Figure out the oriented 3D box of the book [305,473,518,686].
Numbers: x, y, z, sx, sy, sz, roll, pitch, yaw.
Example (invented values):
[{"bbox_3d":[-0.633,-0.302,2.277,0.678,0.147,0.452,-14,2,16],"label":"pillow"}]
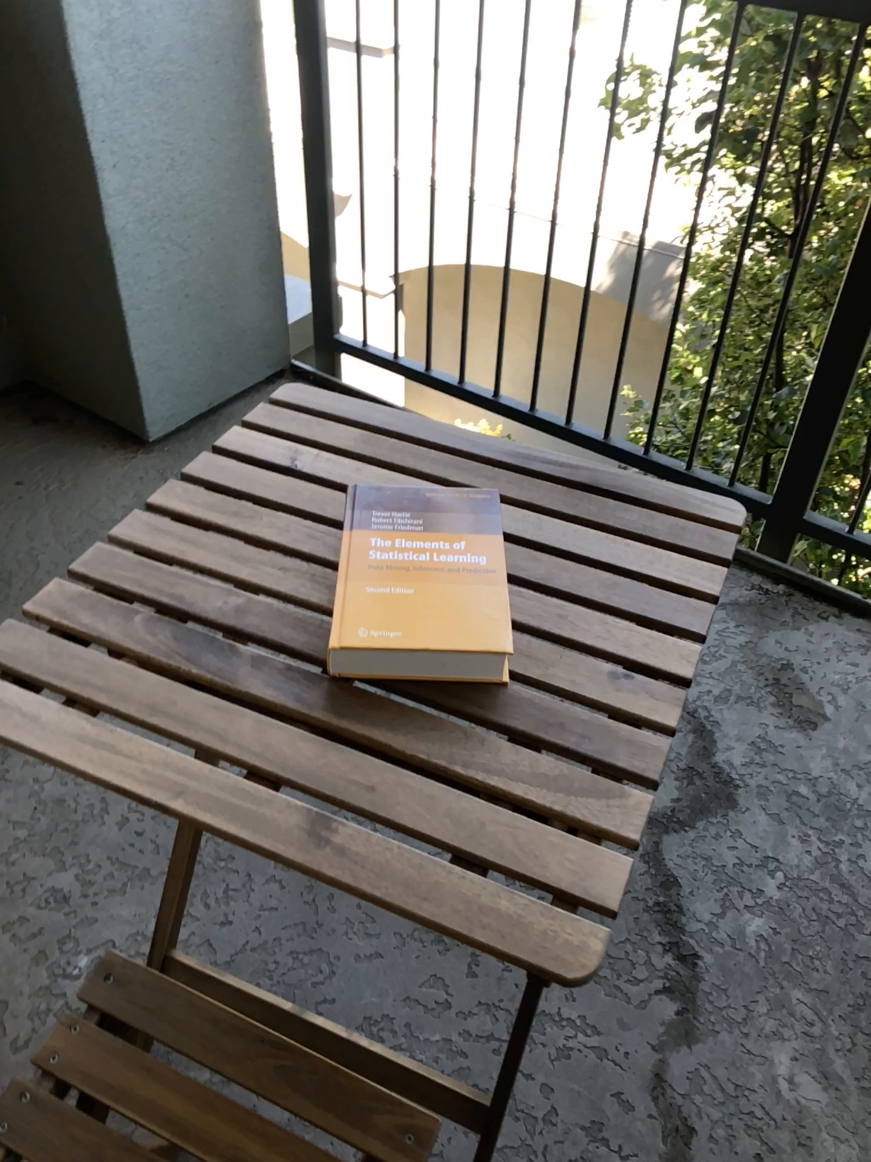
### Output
[{"bbox_3d":[-0.018,-0.010,0.917,0.180,0.040,0.251,2,41,0],"label":"book"}]
